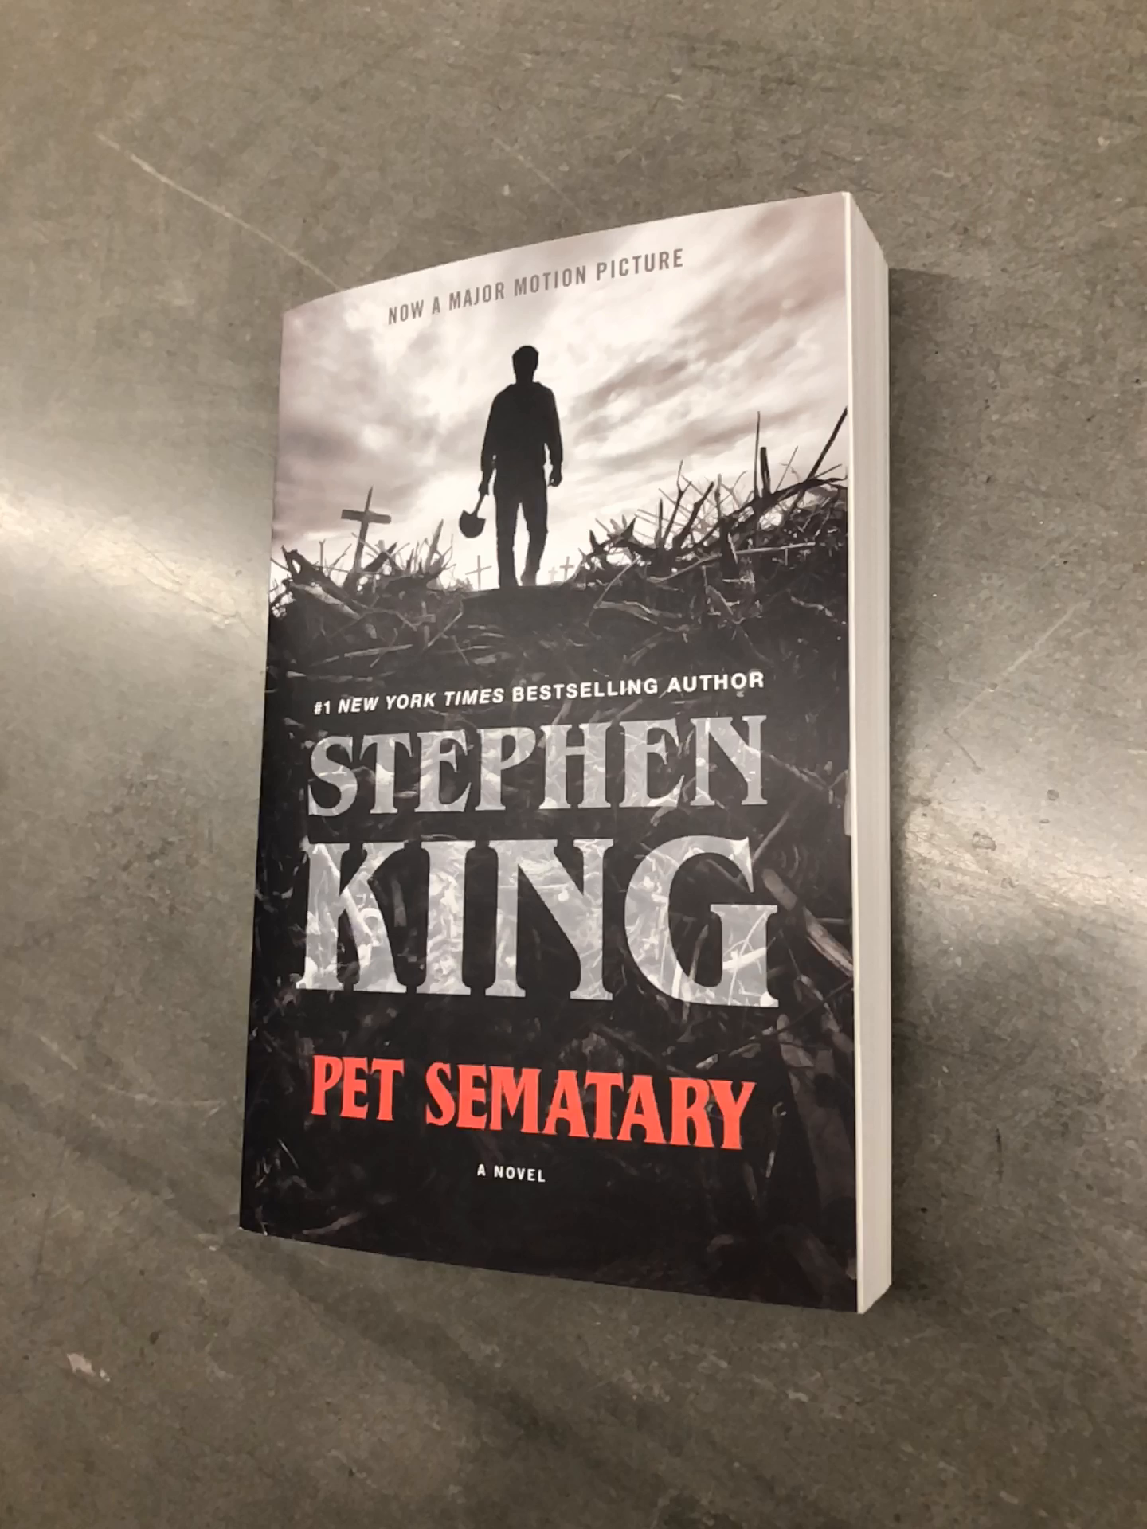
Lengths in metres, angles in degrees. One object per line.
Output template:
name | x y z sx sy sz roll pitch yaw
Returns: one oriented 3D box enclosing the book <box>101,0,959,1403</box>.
book | -0.011 -0.011 0.251 0.160 0.050 0.220 -1 88 22
